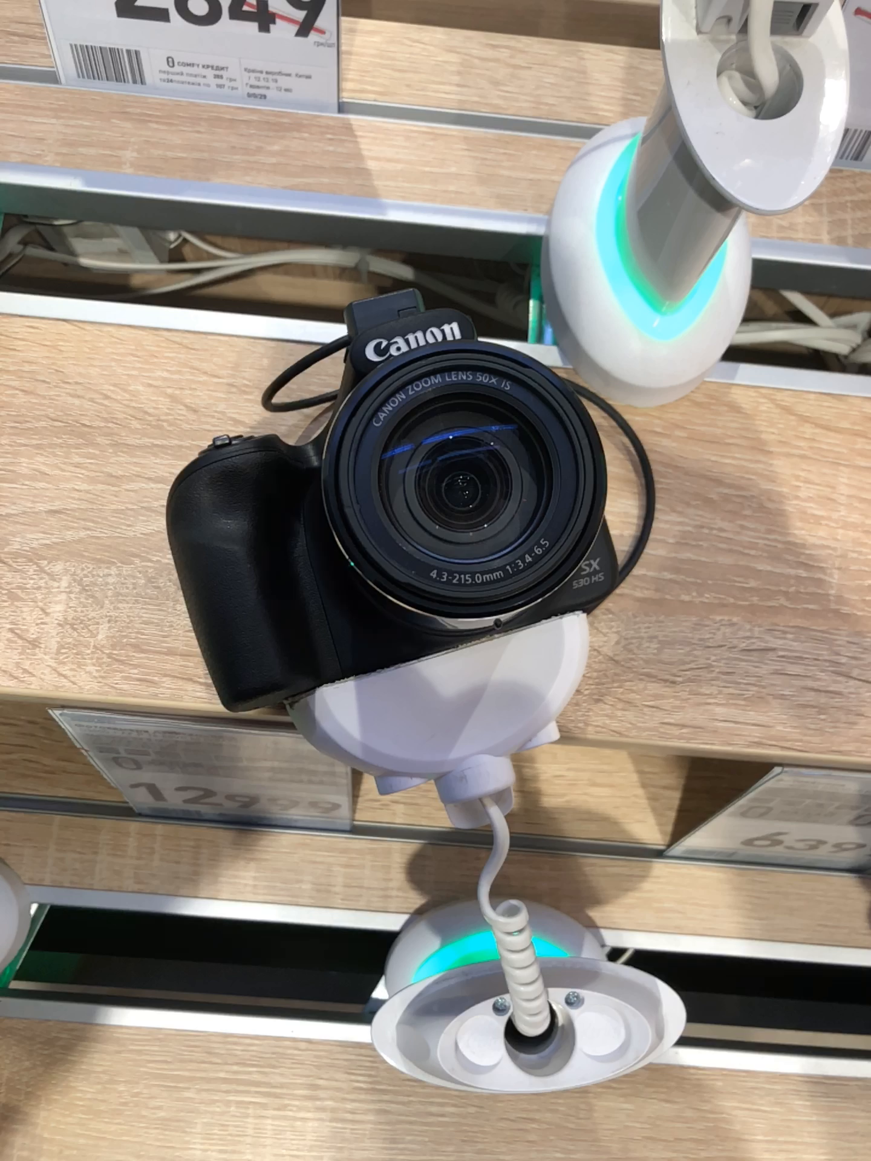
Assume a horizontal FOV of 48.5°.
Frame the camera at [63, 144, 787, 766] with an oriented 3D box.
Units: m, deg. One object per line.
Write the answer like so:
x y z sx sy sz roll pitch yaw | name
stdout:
-0.005 -0.026 0.256 0.133 0.091 0.106 -16 85 -6 | camera
